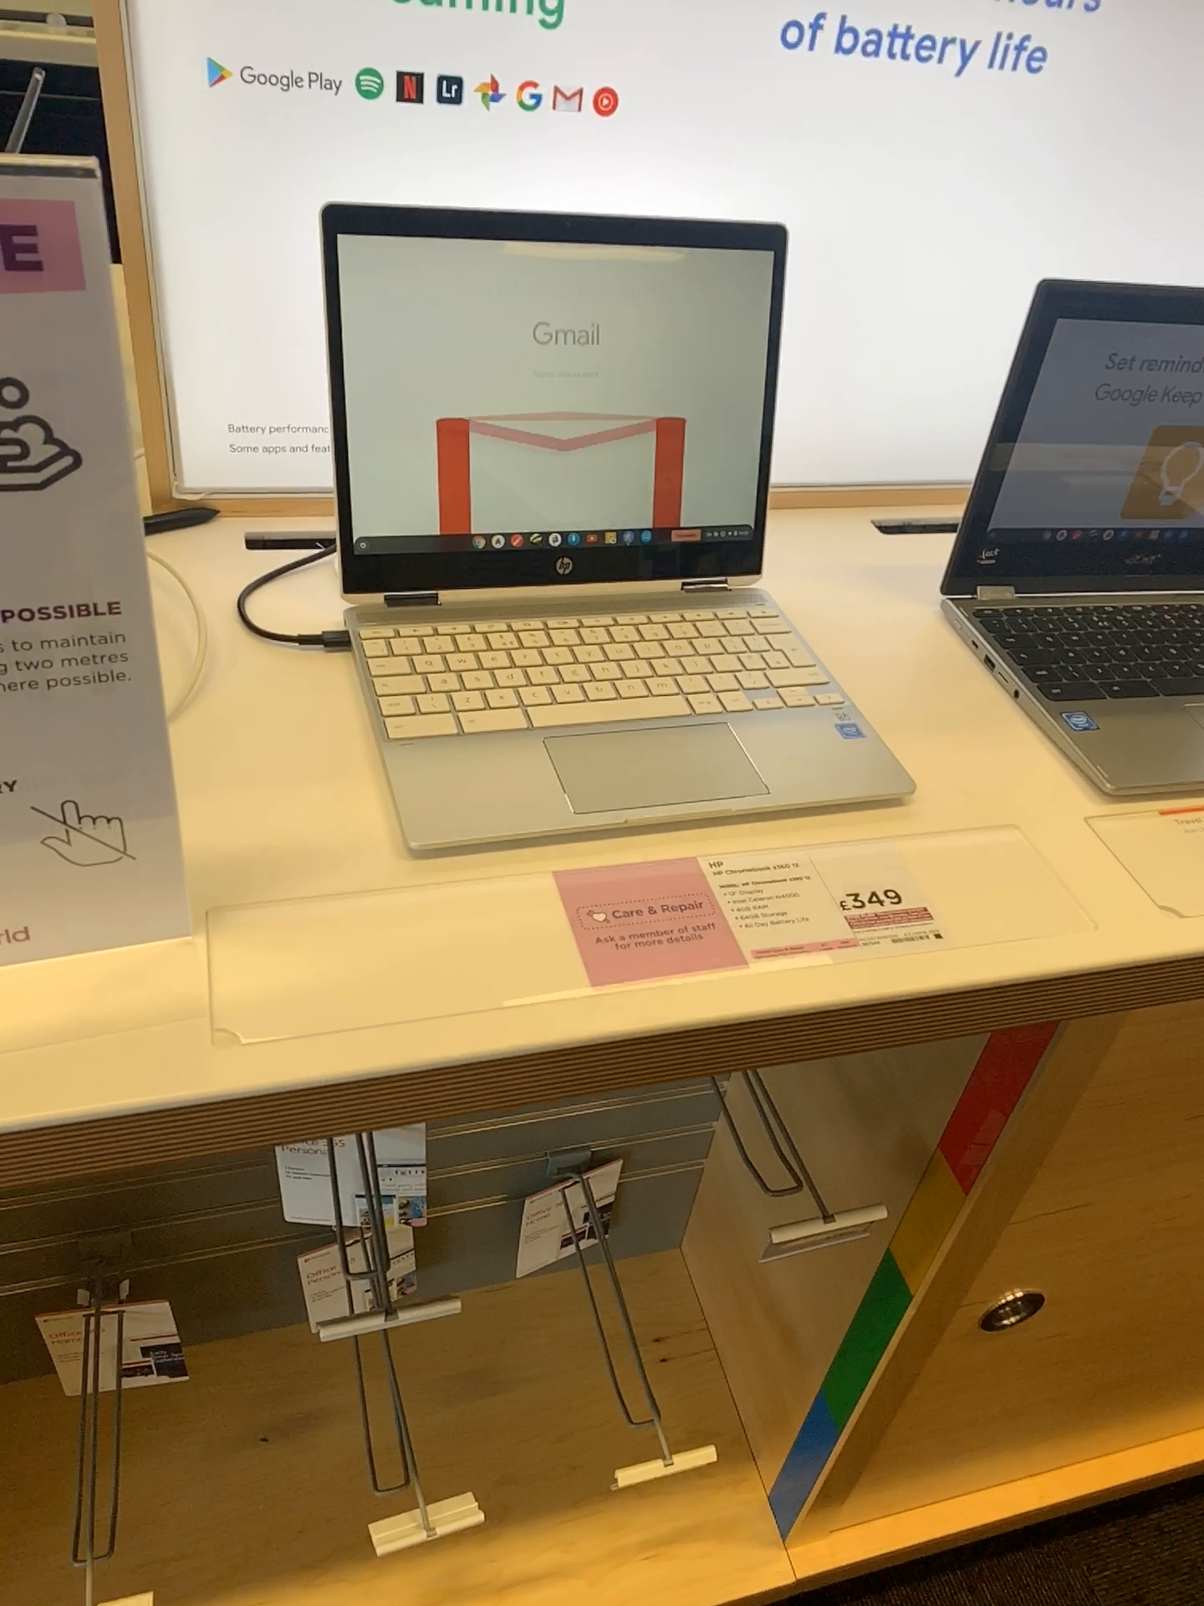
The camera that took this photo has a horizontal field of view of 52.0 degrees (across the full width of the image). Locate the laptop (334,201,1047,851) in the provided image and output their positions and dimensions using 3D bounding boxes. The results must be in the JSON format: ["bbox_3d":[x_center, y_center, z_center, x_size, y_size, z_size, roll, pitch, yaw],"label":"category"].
[{"bbox_3d":[0.013,-0.155,0.629,0.258,0.190,0.271,-6,43,-17],"label":"laptop"}]
